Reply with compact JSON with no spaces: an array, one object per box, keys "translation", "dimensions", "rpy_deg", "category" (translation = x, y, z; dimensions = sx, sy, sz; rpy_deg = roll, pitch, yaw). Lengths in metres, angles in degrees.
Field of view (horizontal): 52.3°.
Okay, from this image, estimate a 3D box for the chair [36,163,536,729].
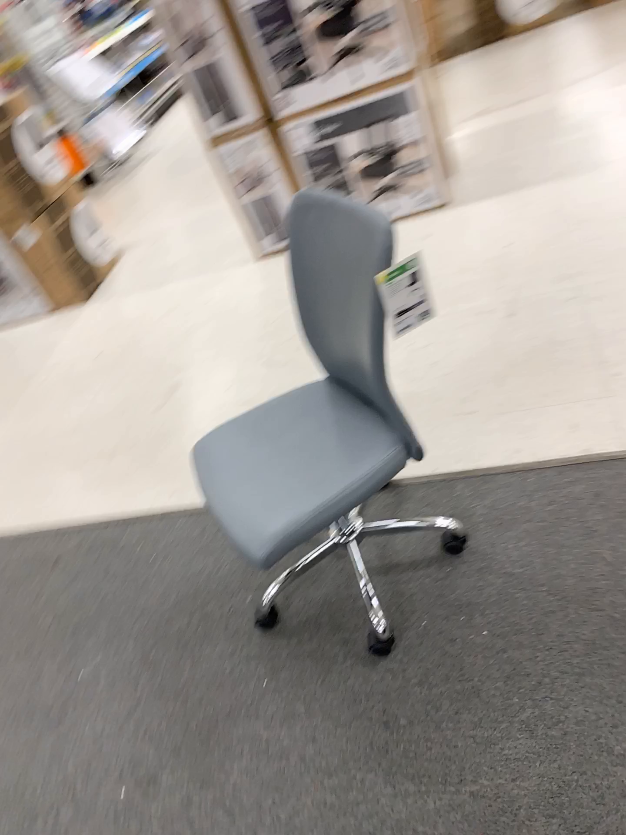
[{"translation":[-0.031,0.053,1.407],"dimensions":[0.650,0.875,0.604],"rpy_deg":[-32,37,-9],"category":"chair"}]
